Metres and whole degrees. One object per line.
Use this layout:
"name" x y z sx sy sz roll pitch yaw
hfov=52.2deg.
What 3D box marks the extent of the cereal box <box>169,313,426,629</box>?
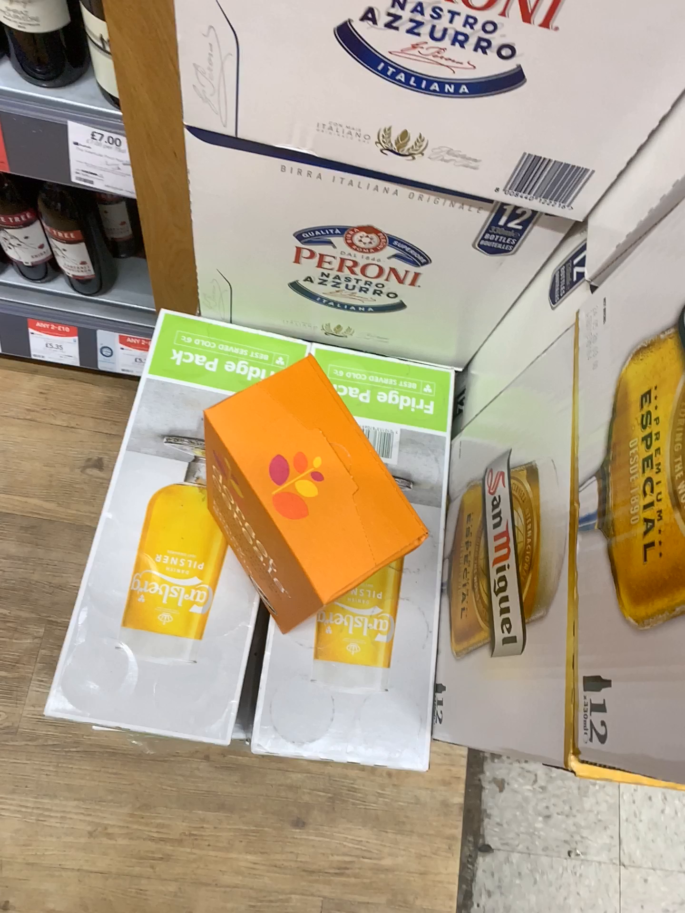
"cereal box" -0.037 0.025 0.423 0.070 0.199 0.120 -29 78 -17
